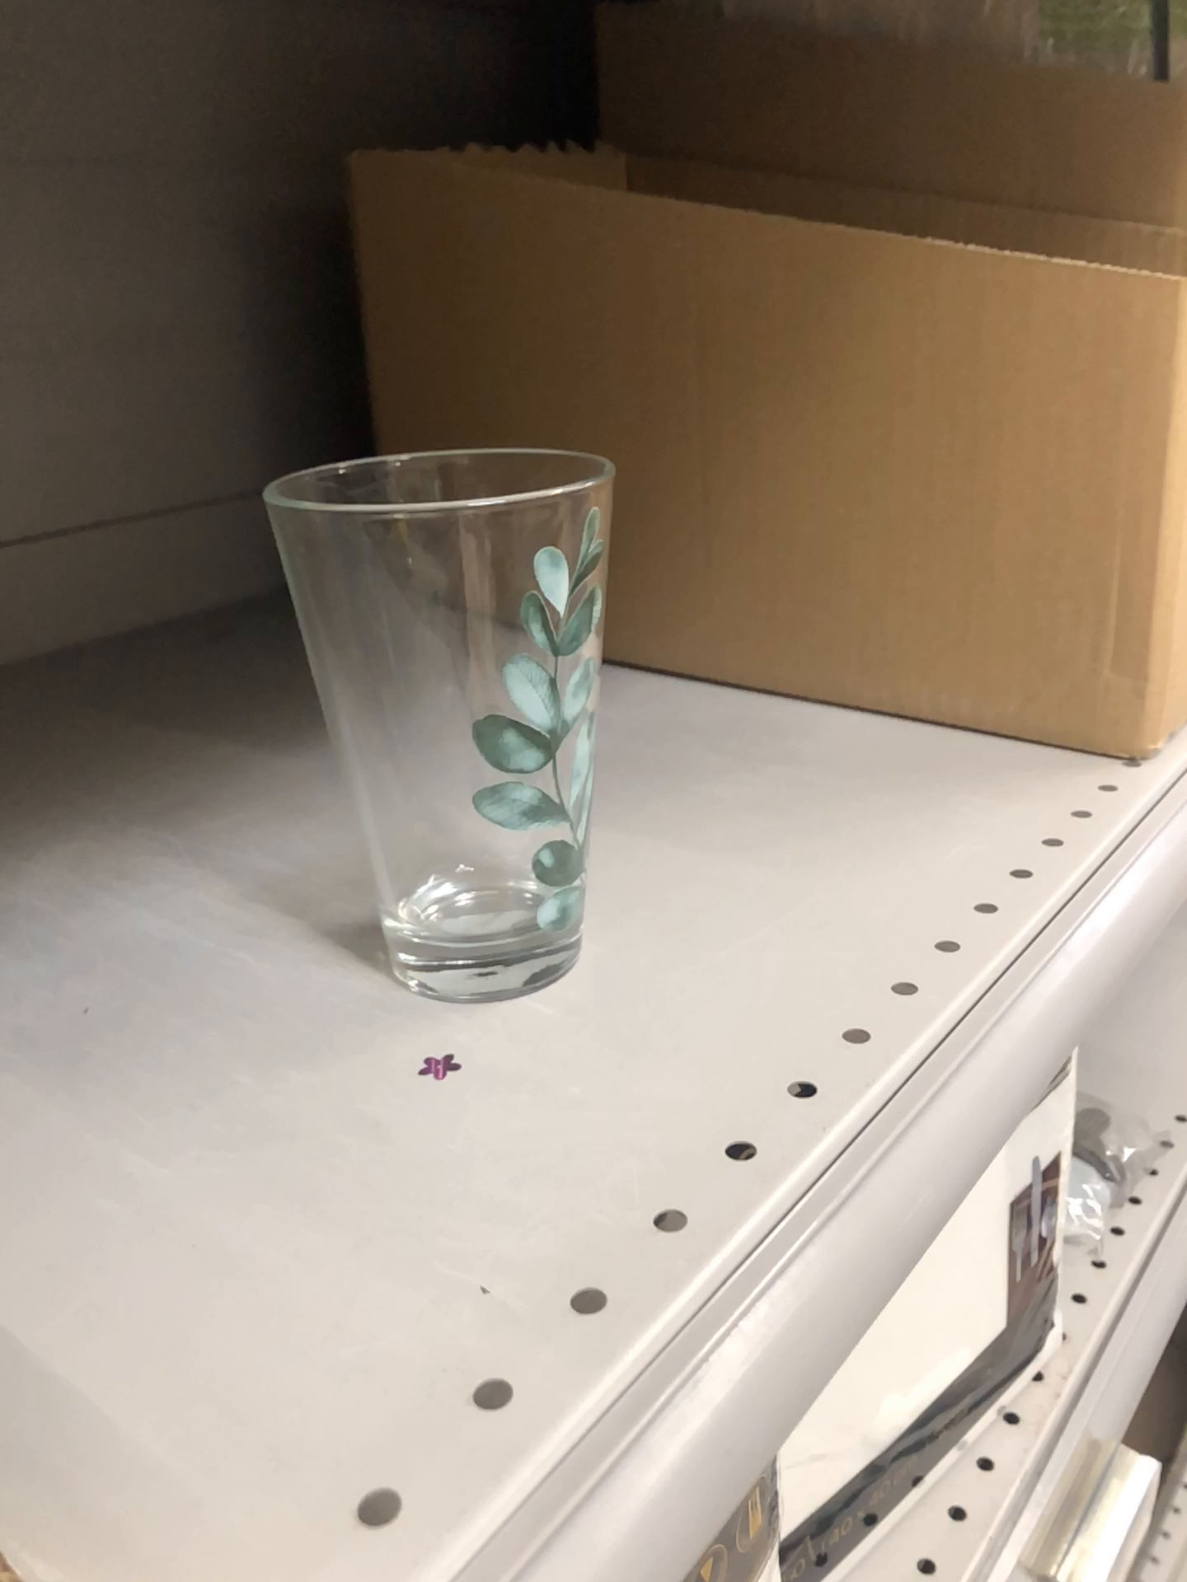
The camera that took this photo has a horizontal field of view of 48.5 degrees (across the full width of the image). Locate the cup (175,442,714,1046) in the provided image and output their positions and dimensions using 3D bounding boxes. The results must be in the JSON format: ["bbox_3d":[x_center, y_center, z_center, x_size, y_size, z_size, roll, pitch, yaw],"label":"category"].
[{"bbox_3d":[-0.031,-0.019,0.317,0.083,0.114,0.083,-4,21,1],"label":"cup"}]
